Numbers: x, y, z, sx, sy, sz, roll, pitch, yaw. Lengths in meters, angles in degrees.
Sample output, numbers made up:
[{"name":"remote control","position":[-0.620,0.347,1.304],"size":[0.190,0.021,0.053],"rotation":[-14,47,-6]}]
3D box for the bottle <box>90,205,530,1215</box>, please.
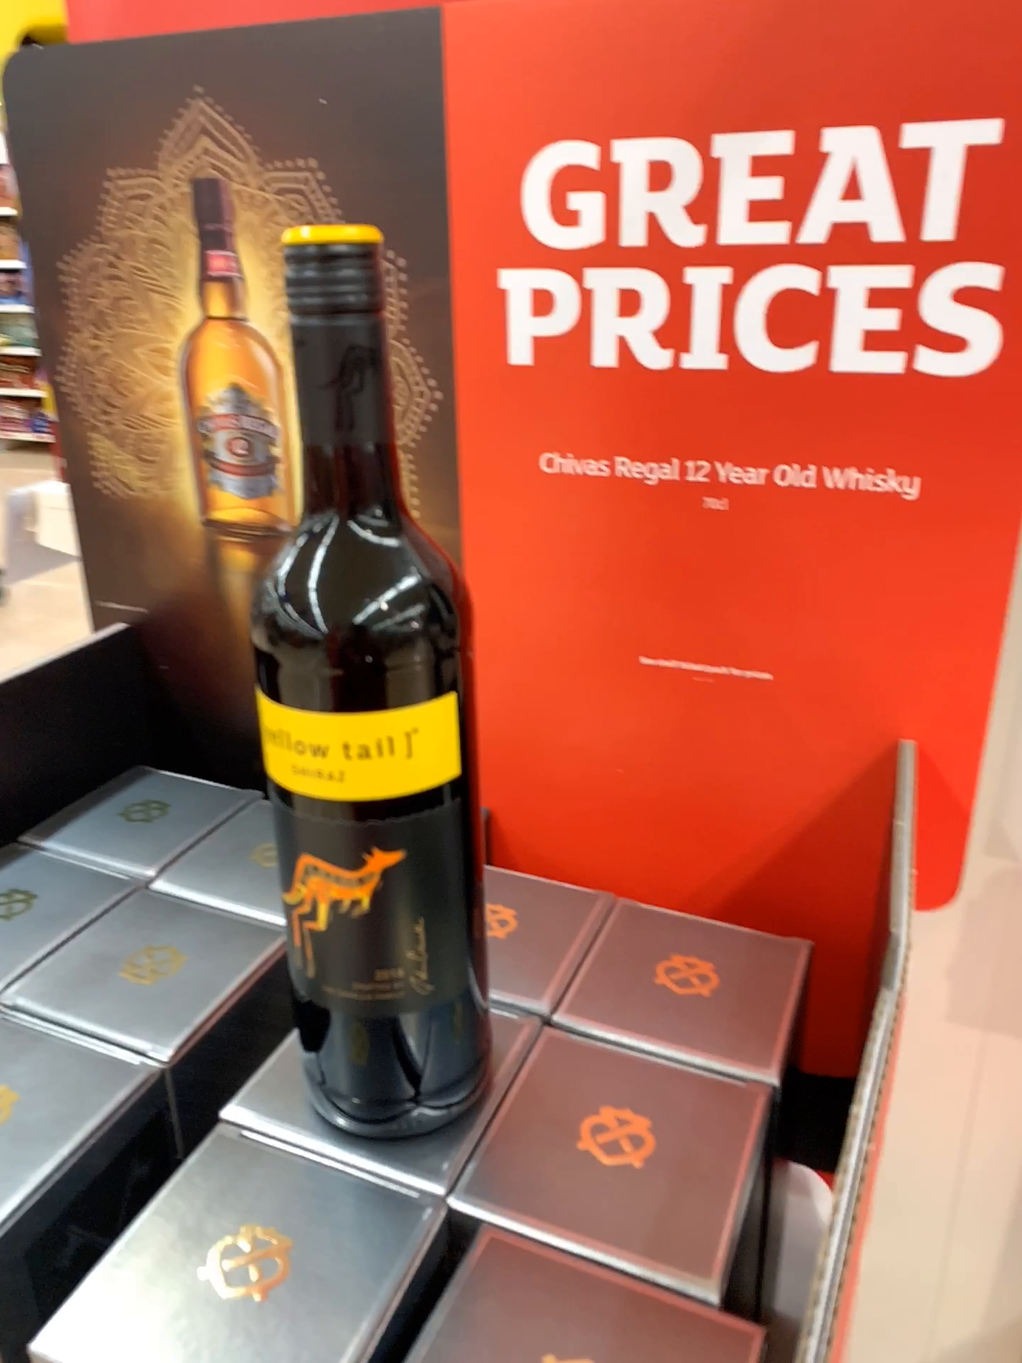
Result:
[{"name":"bottle","position":[-0.049,0.016,0.338],"size":[0.087,0.307,0.082],"rotation":[-1,22,0]}]
